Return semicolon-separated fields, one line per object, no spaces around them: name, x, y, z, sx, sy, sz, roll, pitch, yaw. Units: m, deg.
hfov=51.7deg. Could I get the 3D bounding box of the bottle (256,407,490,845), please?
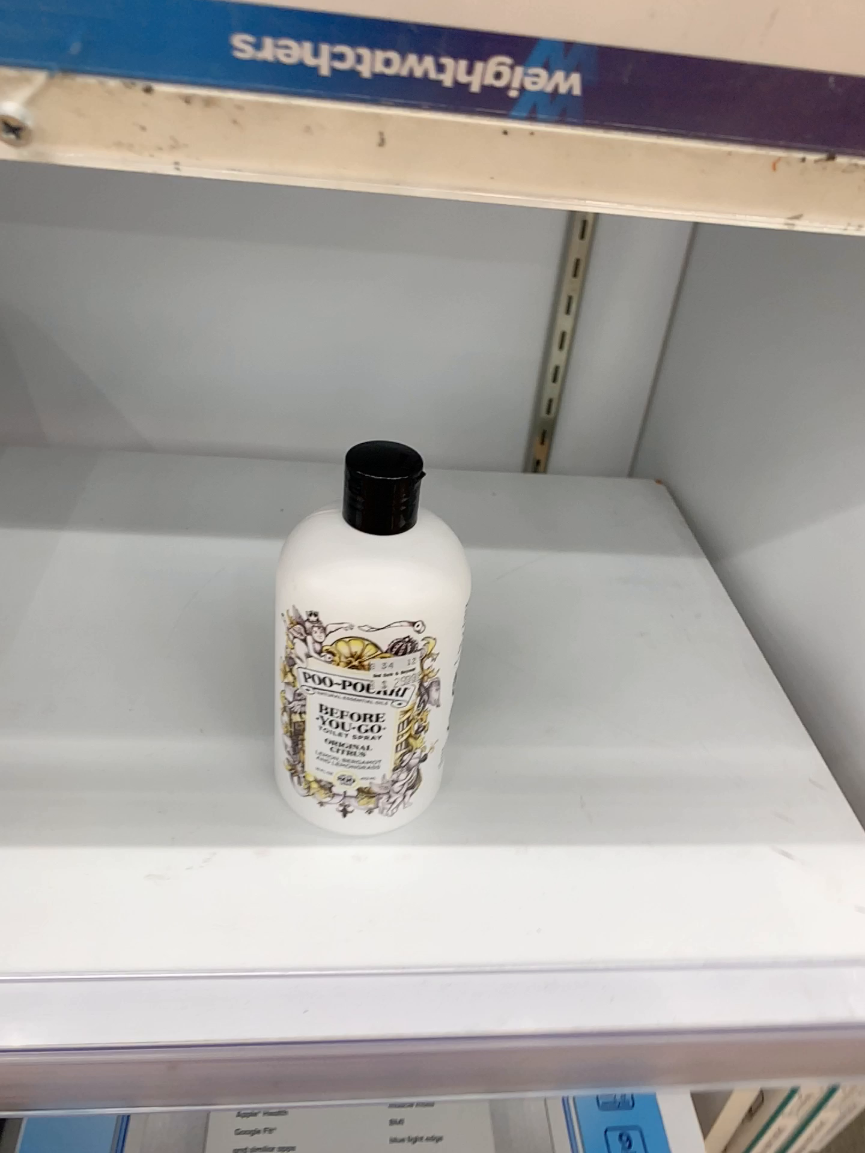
bottle;-0.026;0.023;0.348;0.073;0.153;0.070;5;35;-4
